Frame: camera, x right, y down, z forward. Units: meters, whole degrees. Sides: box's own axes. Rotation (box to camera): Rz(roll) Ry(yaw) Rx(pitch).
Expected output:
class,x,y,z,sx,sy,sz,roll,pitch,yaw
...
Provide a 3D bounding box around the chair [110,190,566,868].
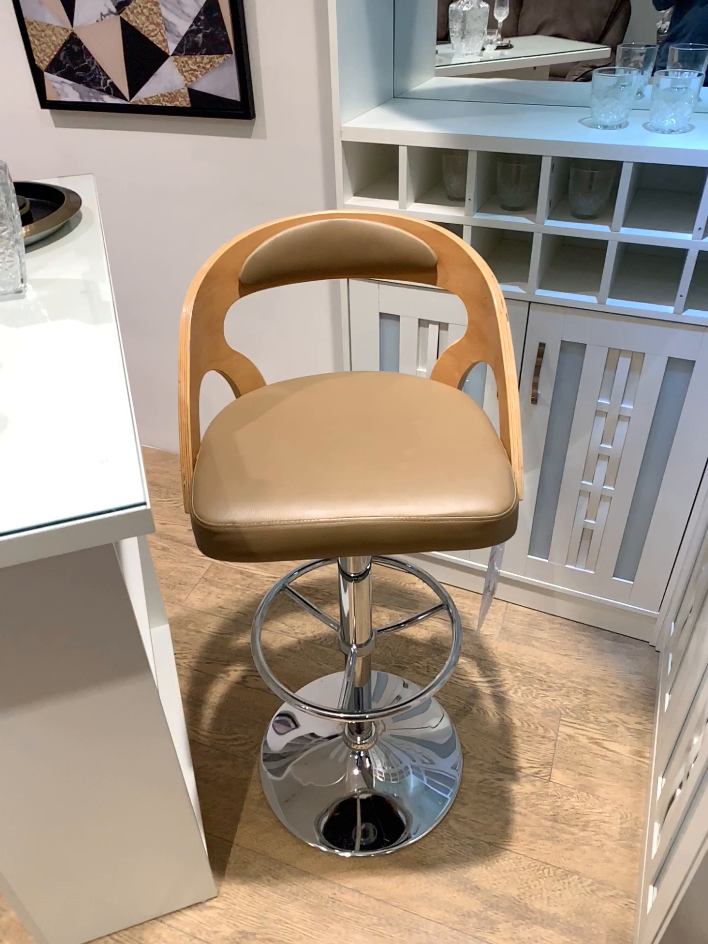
class,x,y,z,sx,sy,sz,roll,pitch,yaw
chair,-0.006,0.152,1.173,0.430,1.046,0.462,-1,36,1
